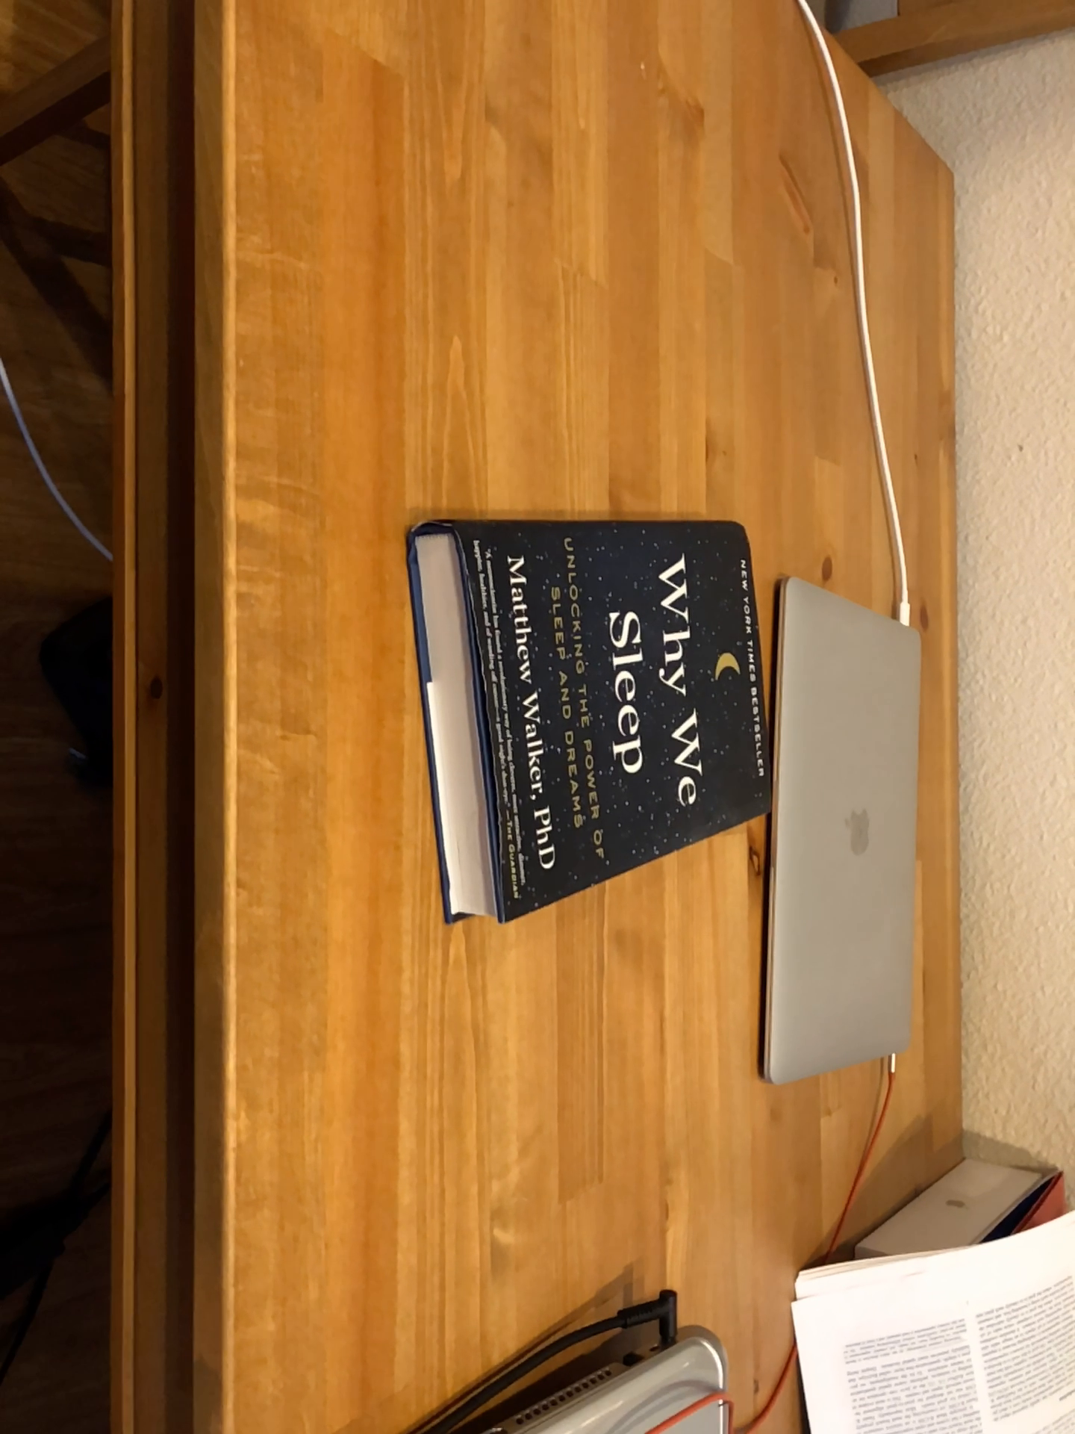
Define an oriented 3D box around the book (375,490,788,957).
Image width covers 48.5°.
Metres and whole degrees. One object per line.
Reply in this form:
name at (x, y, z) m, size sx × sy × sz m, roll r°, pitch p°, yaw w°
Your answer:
book at (0.036, -0.011, 0.539) m, size 0.241 × 0.040 × 0.170 m, roll -12°, pitch 99°, yaw -52°
